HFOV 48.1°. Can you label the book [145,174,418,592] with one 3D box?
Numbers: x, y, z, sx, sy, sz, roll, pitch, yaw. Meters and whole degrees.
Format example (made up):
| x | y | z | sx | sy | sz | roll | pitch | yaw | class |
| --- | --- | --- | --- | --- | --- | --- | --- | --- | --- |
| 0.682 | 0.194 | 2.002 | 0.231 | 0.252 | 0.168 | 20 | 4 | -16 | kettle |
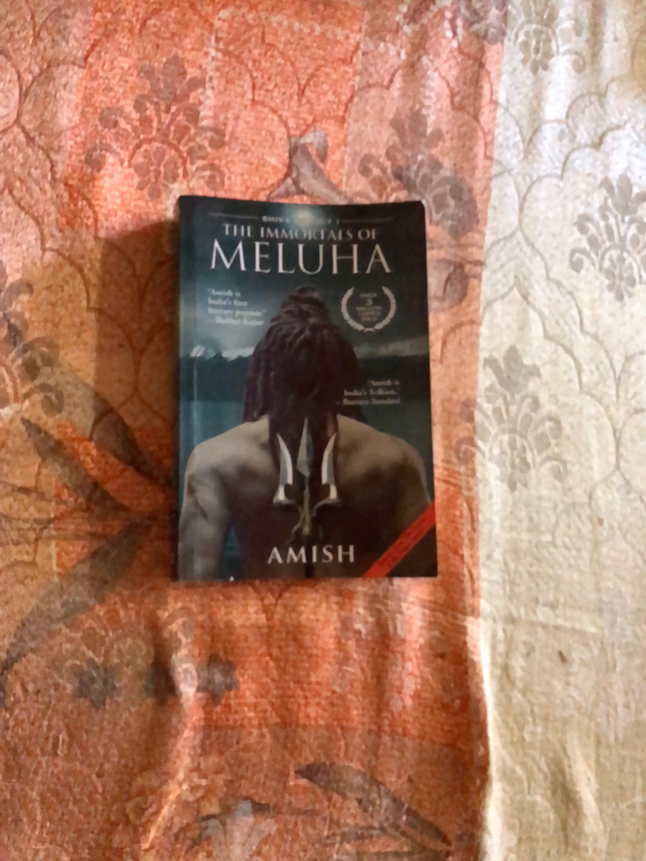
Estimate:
| x | y | z | sx | sy | sz | roll | pitch | yaw | class |
| --- | --- | --- | --- | --- | --- | --- | --- | --- | --- |
| -0.023 | -0.023 | 0.374 | 0.131 | 0.040 | 0.200 | 1 | 82 | -13 | book |
